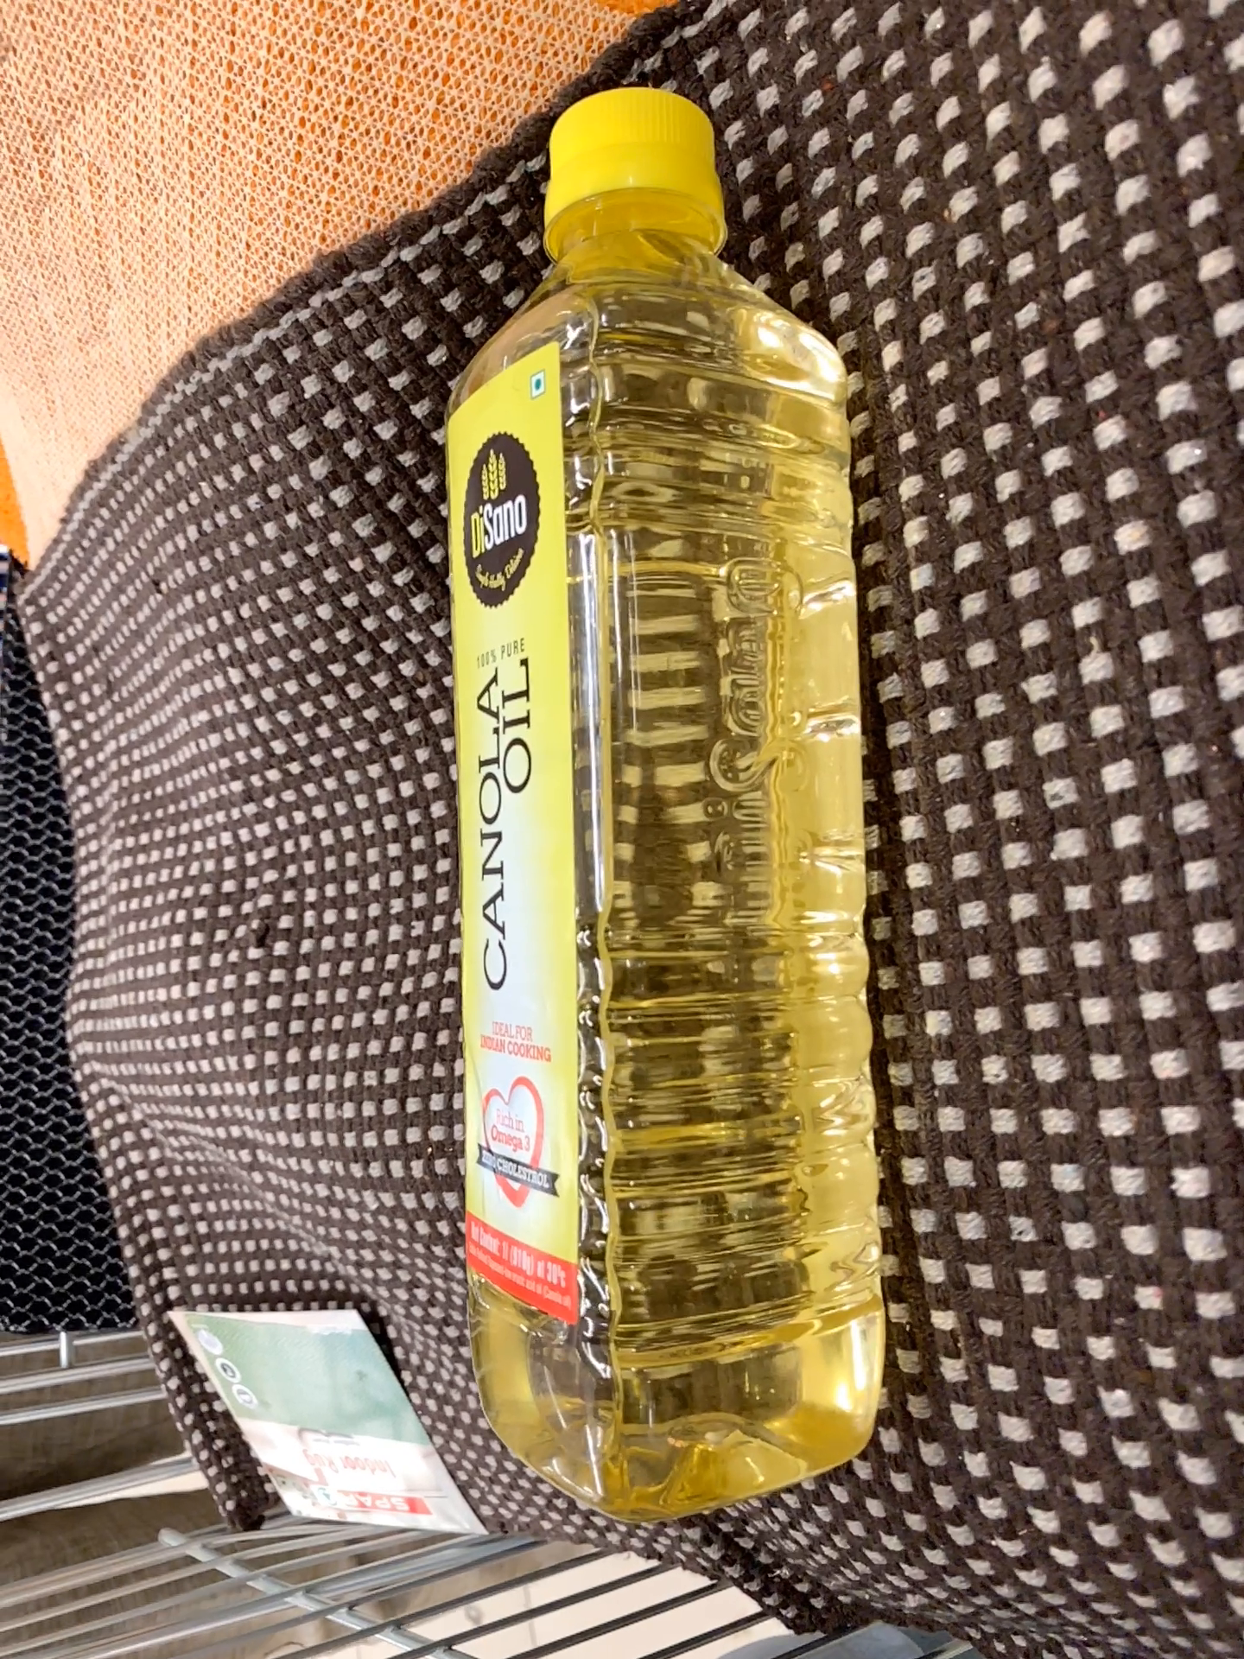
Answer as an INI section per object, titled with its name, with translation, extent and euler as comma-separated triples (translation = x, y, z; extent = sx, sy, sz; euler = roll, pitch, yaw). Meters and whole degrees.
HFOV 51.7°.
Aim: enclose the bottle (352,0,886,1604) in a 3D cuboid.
[bottle]
translation = -0.005, -0.023, 0.216
extent = 0.070, 0.060, 0.250
euler = -4, 86, 59
